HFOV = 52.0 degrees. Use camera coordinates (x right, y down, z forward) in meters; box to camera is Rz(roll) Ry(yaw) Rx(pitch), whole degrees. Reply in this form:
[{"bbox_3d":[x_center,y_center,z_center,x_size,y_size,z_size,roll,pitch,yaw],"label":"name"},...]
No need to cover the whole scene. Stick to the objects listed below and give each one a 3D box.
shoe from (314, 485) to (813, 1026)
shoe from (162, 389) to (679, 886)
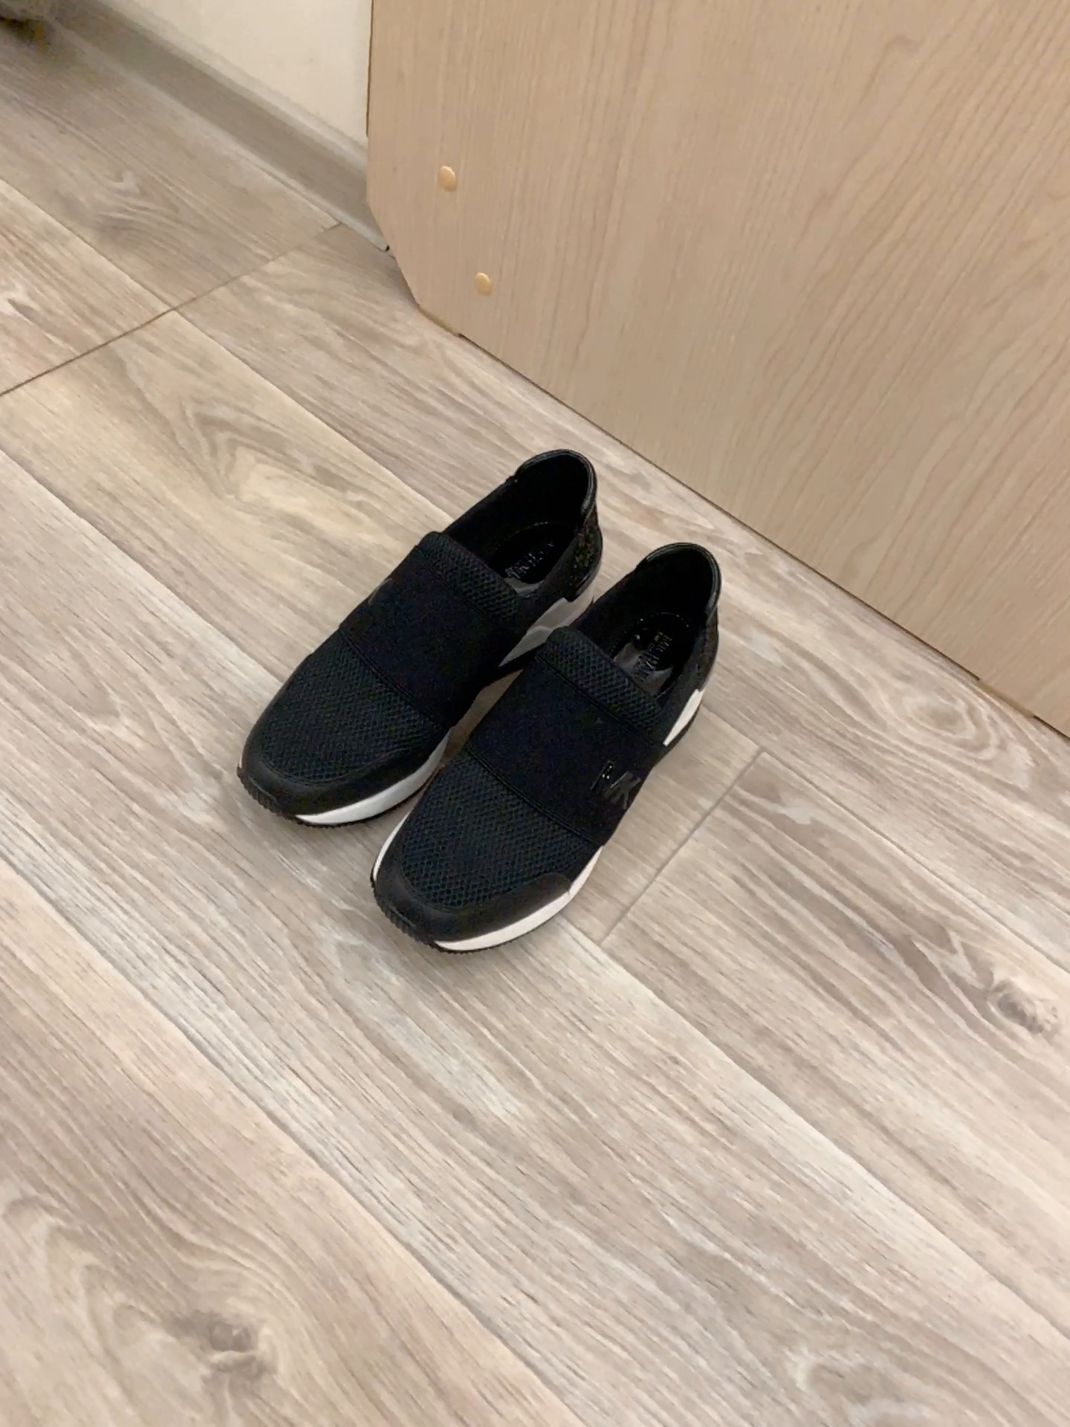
[{"bbox_3d":[0.016,0.014,0.567,0.098,0.120,0.261,38,58,15],"label":"shoe"},{"bbox_3d":[-0.054,-0.047,0.591,0.098,0.120,0.261,41,59,16],"label":"shoe"}]
